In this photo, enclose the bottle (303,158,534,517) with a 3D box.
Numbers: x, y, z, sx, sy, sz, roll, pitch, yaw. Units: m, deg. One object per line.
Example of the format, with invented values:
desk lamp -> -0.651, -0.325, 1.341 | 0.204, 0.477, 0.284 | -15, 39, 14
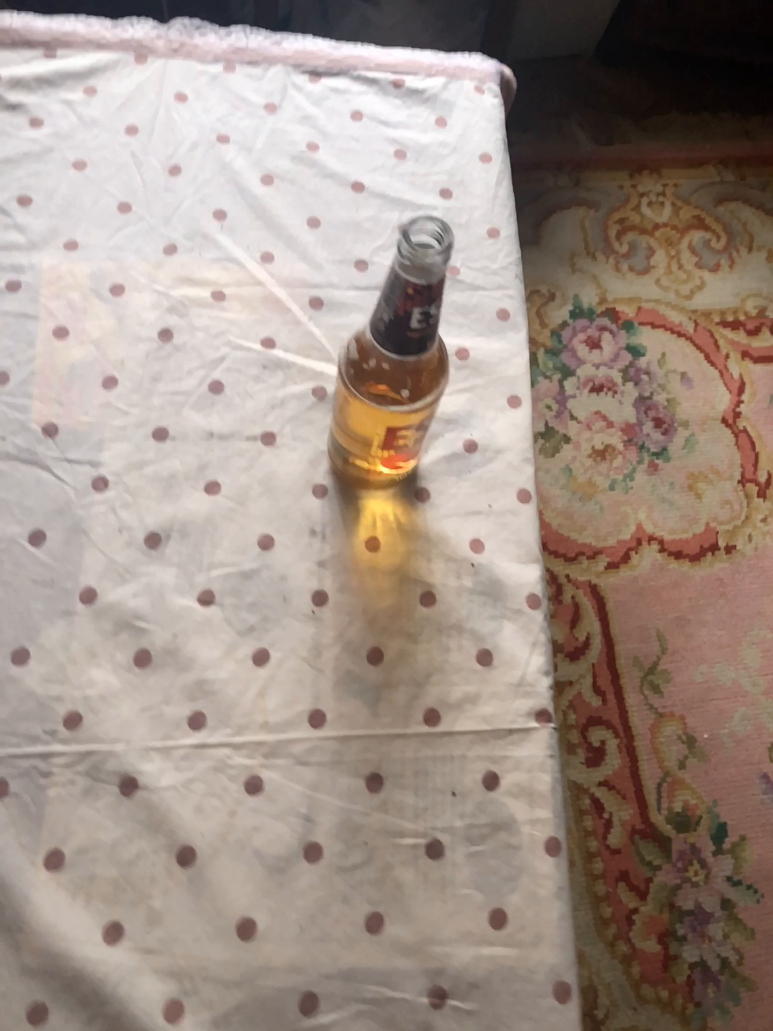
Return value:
bottle -> 0.007, -0.090, 0.505 | 0.080, 0.209, 0.080 | 2, 68, -5
